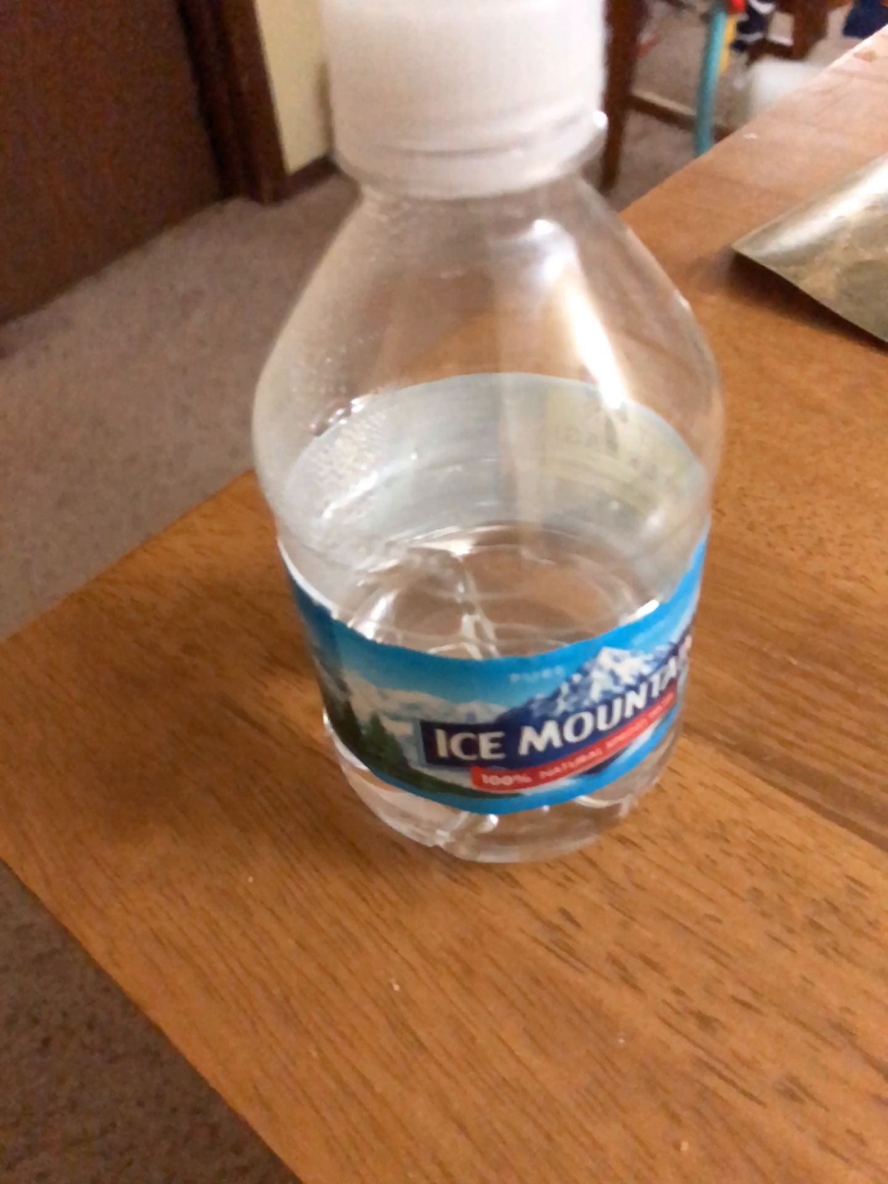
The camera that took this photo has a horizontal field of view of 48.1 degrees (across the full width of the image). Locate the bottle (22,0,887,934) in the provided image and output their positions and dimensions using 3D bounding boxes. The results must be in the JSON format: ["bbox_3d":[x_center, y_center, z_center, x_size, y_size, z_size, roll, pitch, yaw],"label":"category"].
[{"bbox_3d":[0.005,-0.024,0.132,0.070,0.110,0.070,-3,46,3],"label":"bottle"}]
